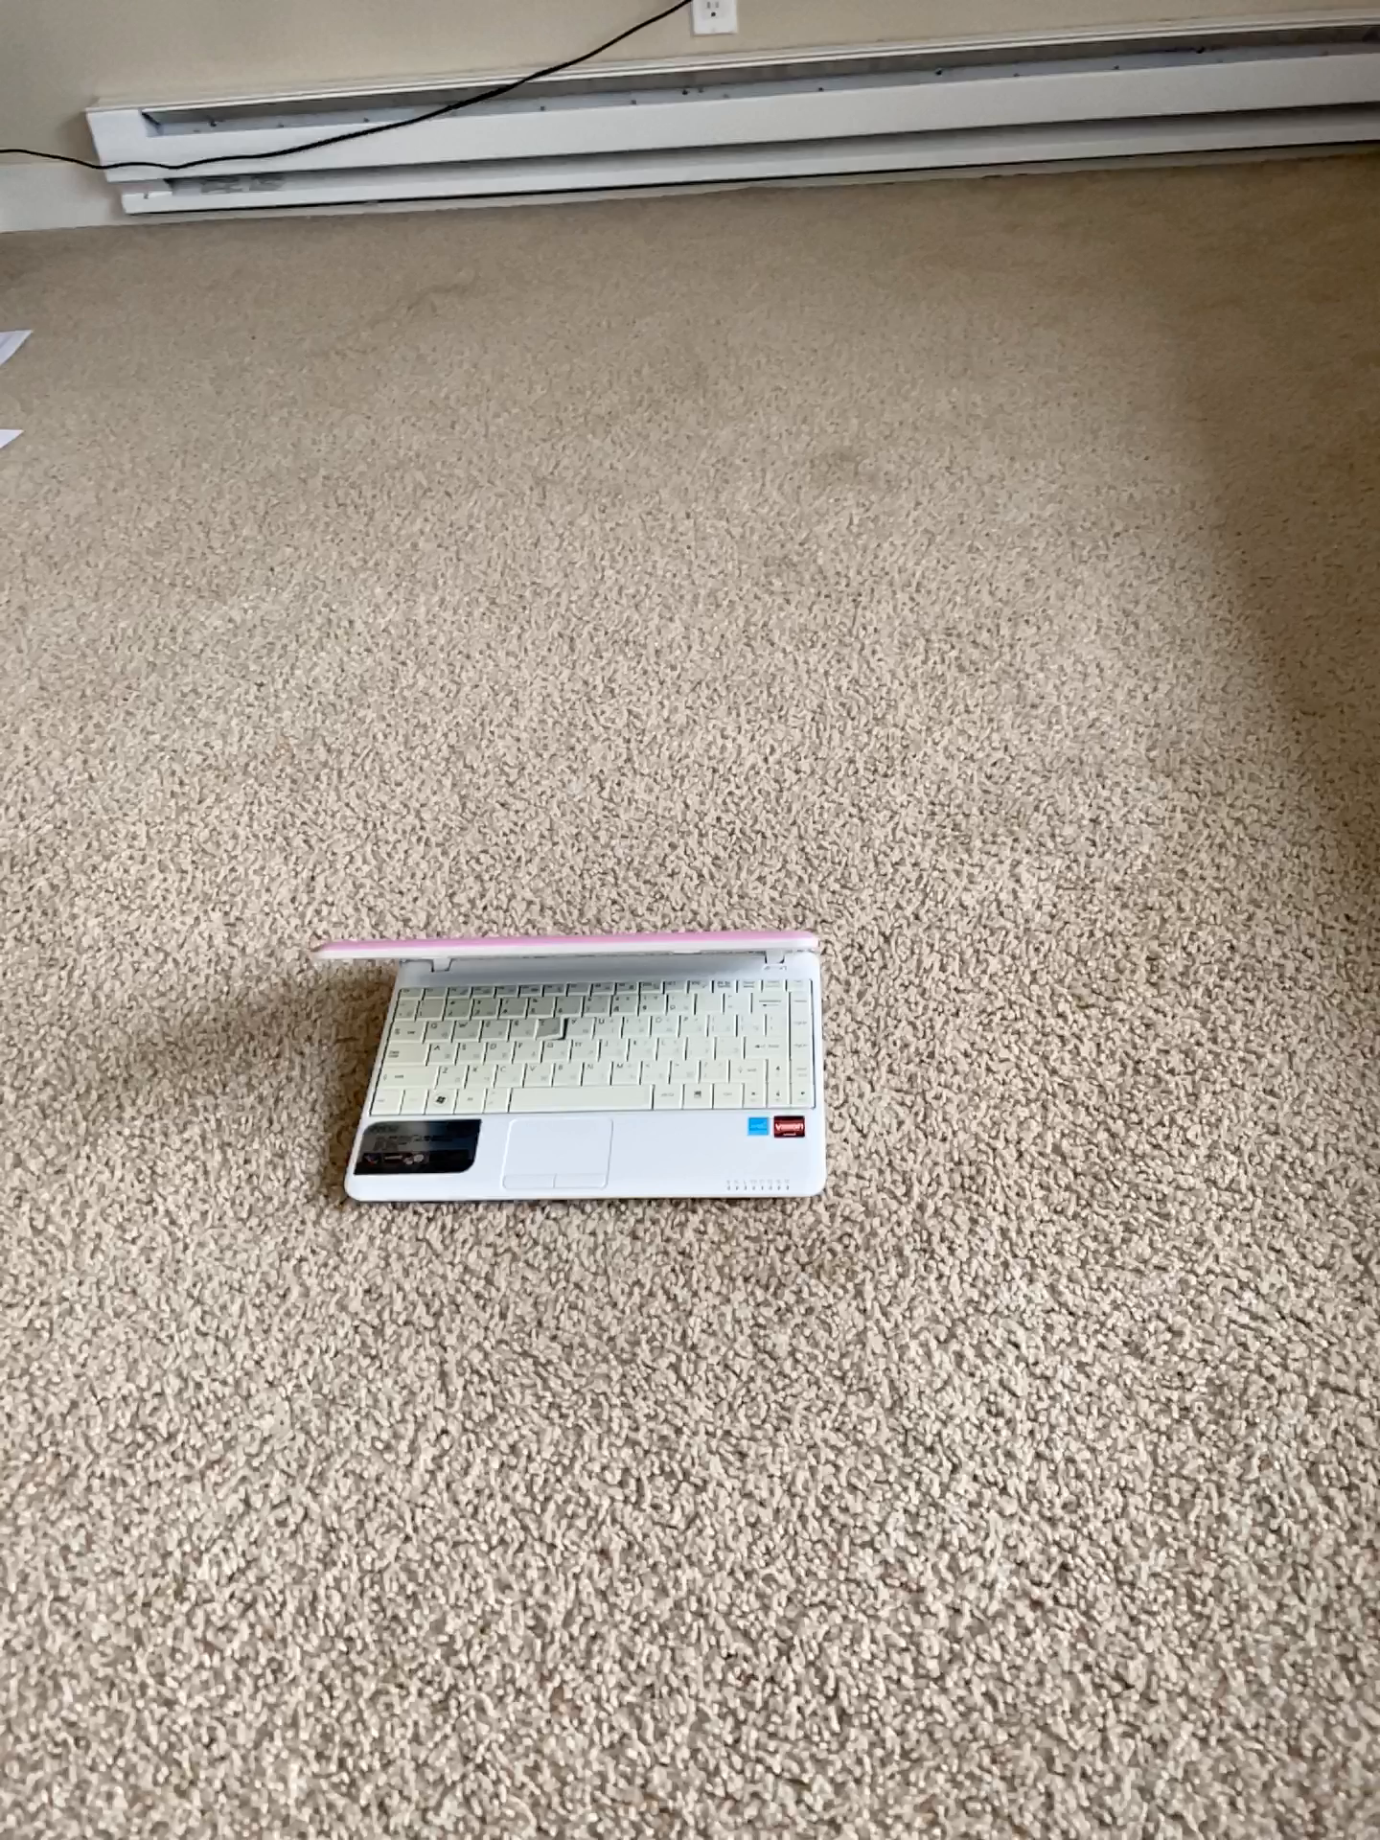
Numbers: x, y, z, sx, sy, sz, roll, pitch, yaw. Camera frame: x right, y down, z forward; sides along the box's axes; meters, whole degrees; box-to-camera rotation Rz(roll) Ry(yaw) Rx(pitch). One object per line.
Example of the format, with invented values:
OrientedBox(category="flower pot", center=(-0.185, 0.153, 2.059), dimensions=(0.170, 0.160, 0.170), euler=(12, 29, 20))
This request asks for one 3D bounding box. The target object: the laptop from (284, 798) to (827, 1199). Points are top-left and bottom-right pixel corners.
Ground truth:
OrientedBox(category="laptop", center=(-0.068, 0.047, 0.864), dimensions=(0.297, 0.122, 0.198), euler=(-2, 45, 7))
